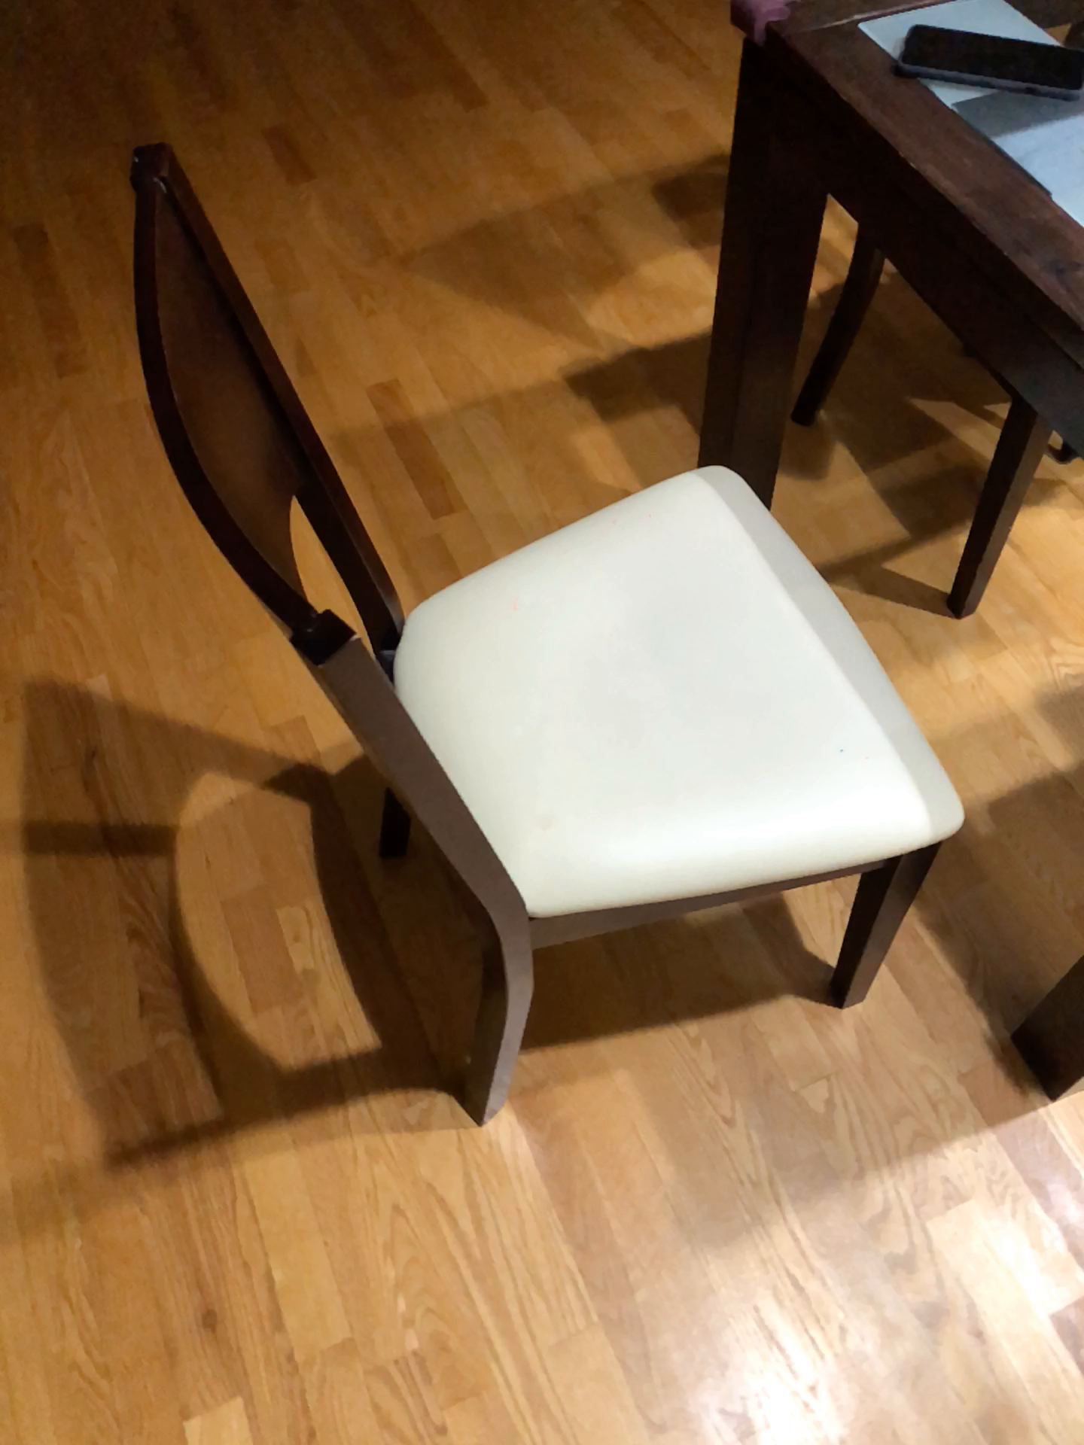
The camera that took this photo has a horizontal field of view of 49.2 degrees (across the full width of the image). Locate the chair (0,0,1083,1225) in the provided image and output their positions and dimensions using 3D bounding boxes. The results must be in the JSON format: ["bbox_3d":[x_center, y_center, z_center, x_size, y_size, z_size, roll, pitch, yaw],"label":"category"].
[{"bbox_3d":[0.046,-0.022,1.128,0.640,1.006,0.502,-22,57,-14],"label":"chair"}]
